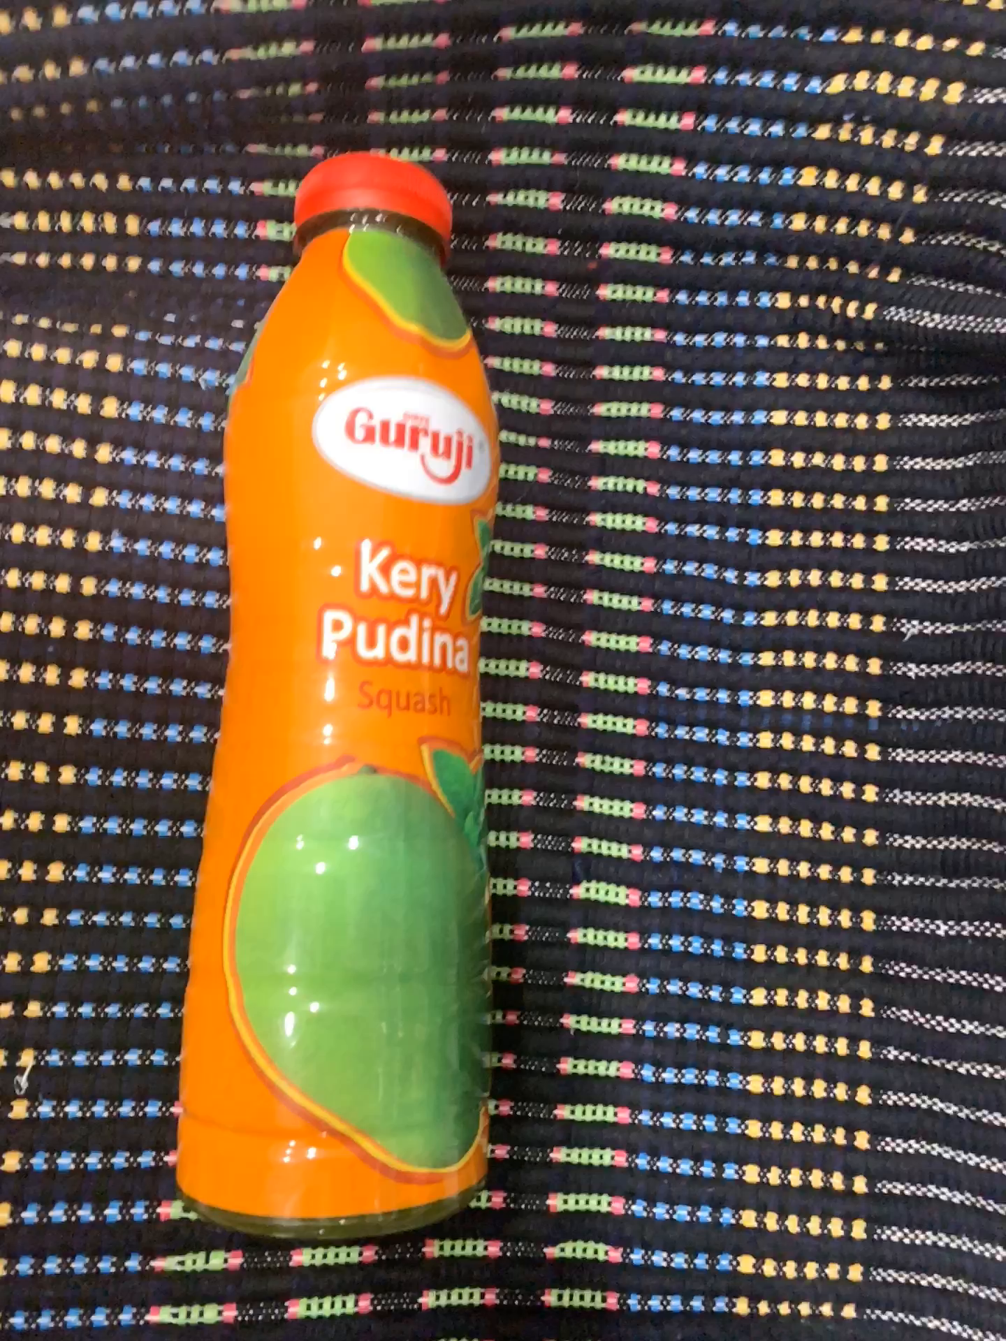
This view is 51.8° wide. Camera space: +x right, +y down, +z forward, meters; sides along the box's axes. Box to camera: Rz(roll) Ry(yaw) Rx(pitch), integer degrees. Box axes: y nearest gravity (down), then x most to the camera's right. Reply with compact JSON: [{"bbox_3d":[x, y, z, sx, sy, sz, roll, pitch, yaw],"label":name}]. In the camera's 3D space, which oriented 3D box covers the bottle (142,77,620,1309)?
[{"bbox_3d":[-0.021,0.000,0.239,0.070,0.070,0.230,17,72,-56],"label":"bottle"}]
